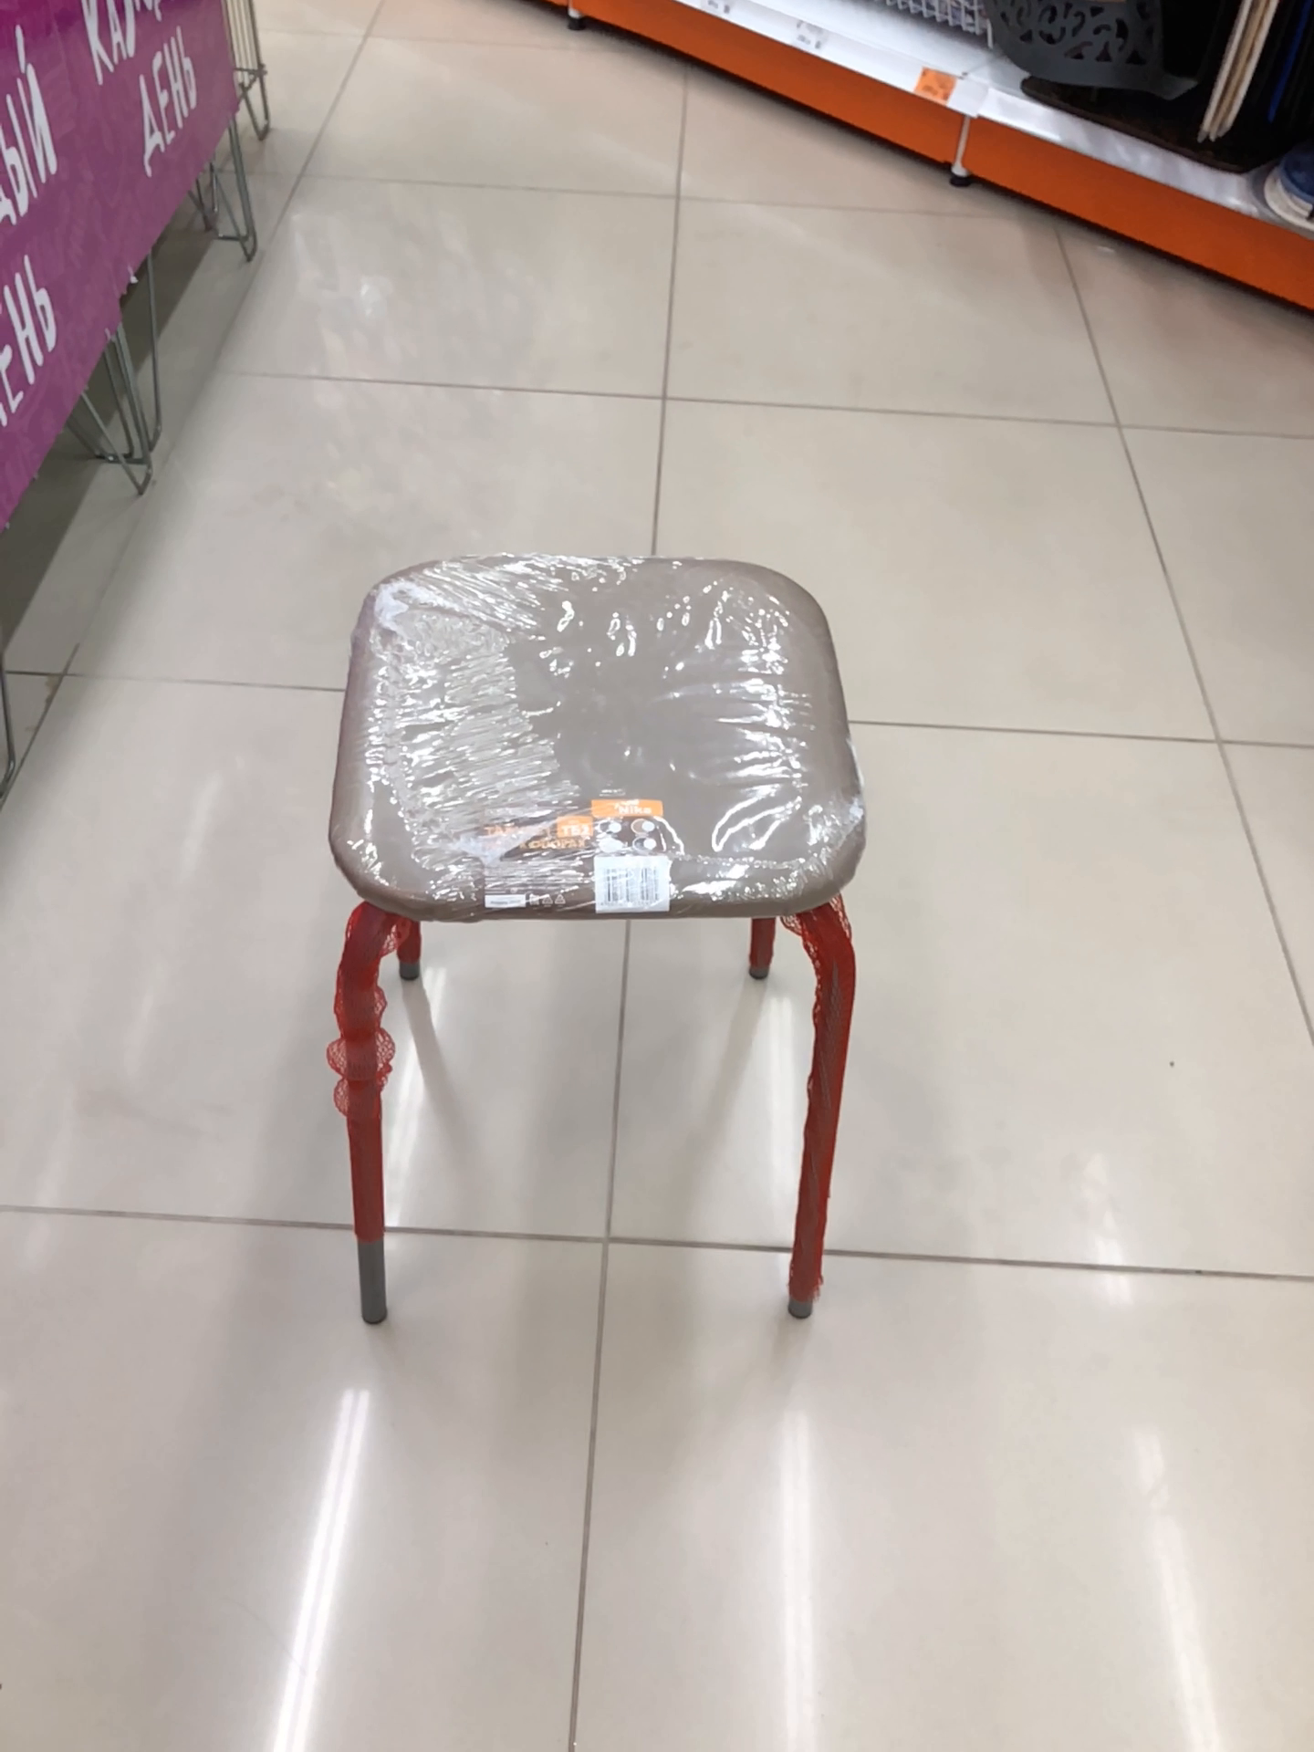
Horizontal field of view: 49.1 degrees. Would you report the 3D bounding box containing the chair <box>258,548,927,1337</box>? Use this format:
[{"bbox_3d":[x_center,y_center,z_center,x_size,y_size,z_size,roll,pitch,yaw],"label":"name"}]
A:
[{"bbox_3d":[-0.046,0.058,0.984,0.330,0.437,0.332,-1,48,-4],"label":"chair"}]
